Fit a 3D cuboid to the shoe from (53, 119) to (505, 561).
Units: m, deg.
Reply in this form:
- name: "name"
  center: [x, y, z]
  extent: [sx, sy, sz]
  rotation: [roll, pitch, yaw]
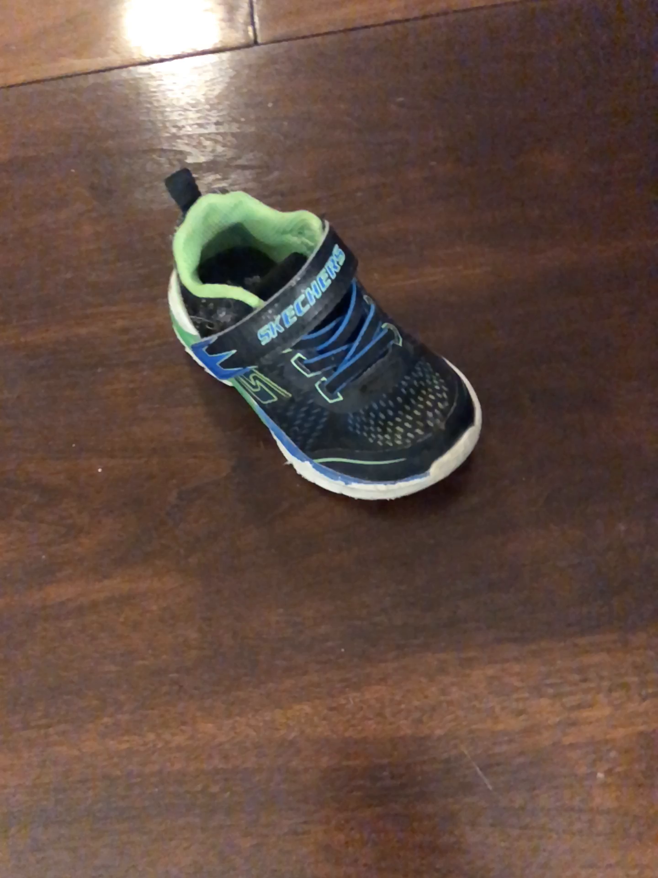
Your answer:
- name: "shoe"
  center: [-0.022, -0.043, 0.316]
  extent: [0.080, 0.080, 0.170]
  rotation: [-44, 70, -12]
